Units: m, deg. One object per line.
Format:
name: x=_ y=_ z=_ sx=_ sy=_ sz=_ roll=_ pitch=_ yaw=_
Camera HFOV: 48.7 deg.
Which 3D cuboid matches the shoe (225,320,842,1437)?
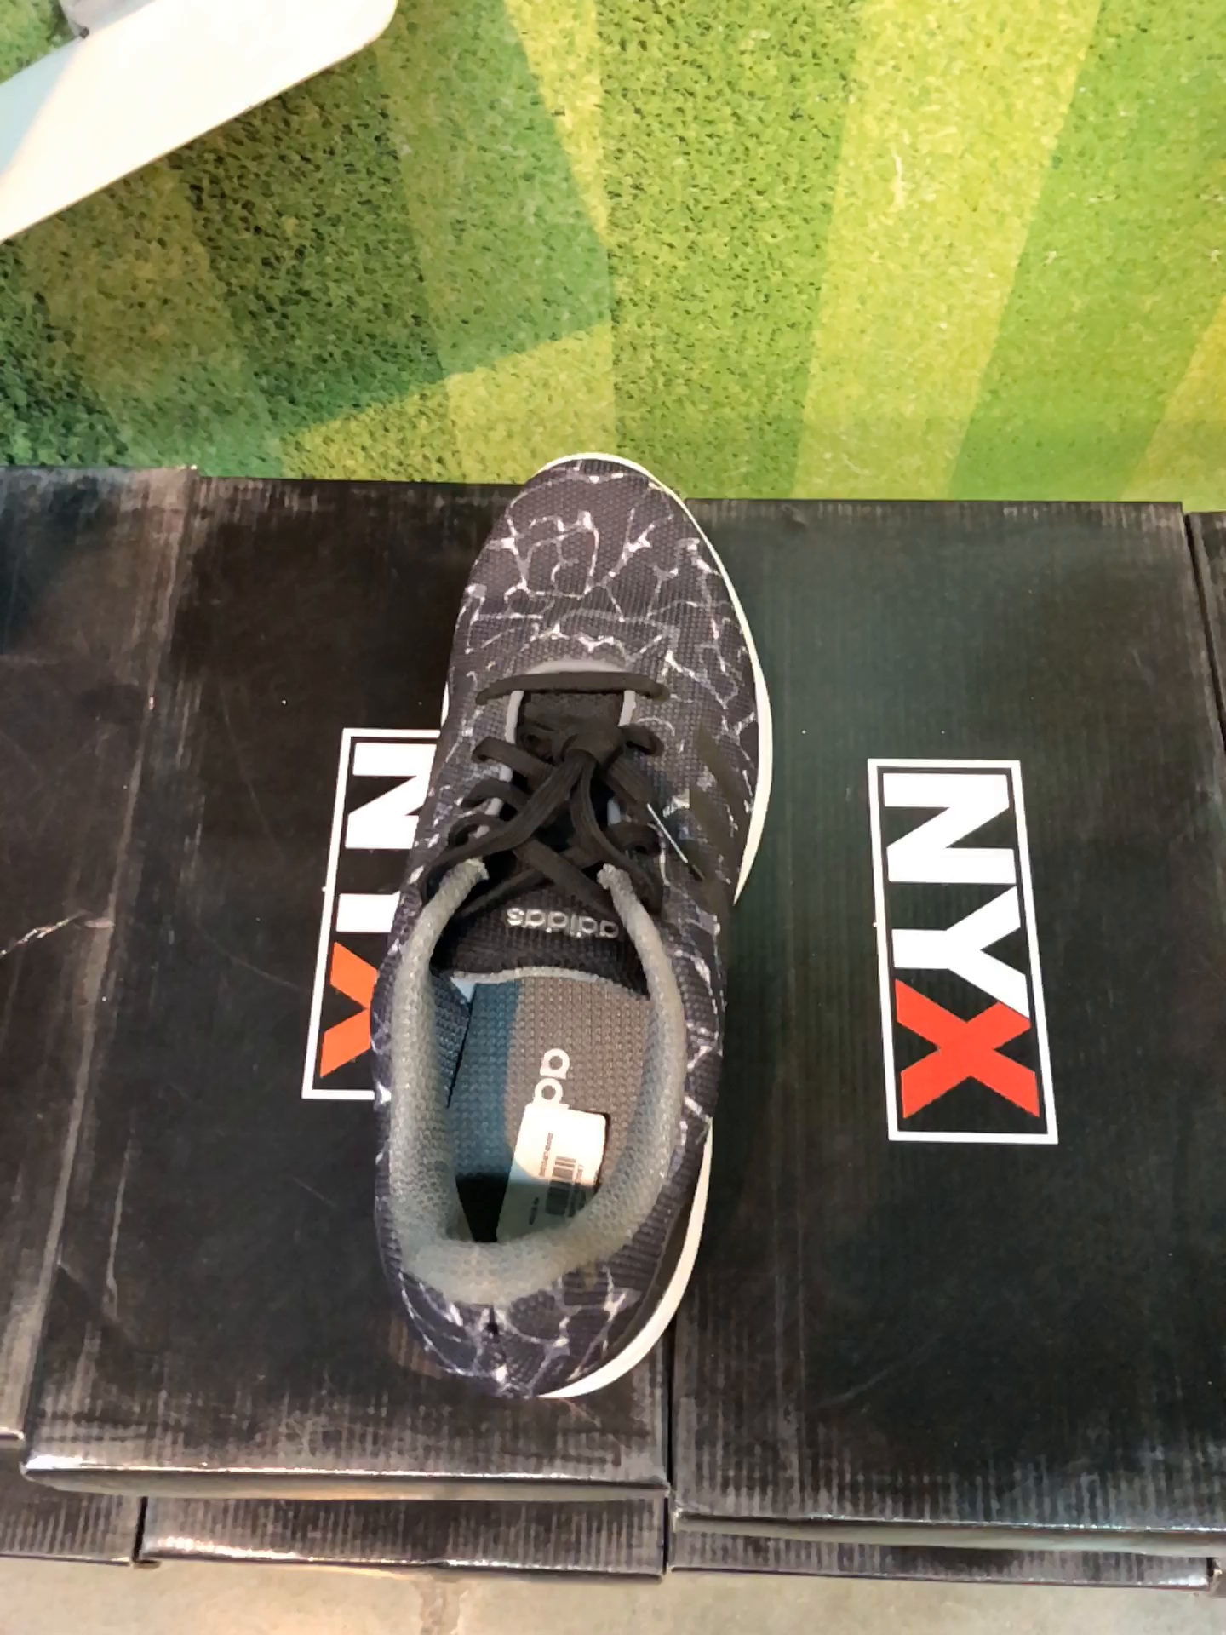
shoe: x=-0.004 y=0.015 z=0.359 sx=0.108 sy=0.122 sz=0.261 roll=4 pitch=66 yaw=4
